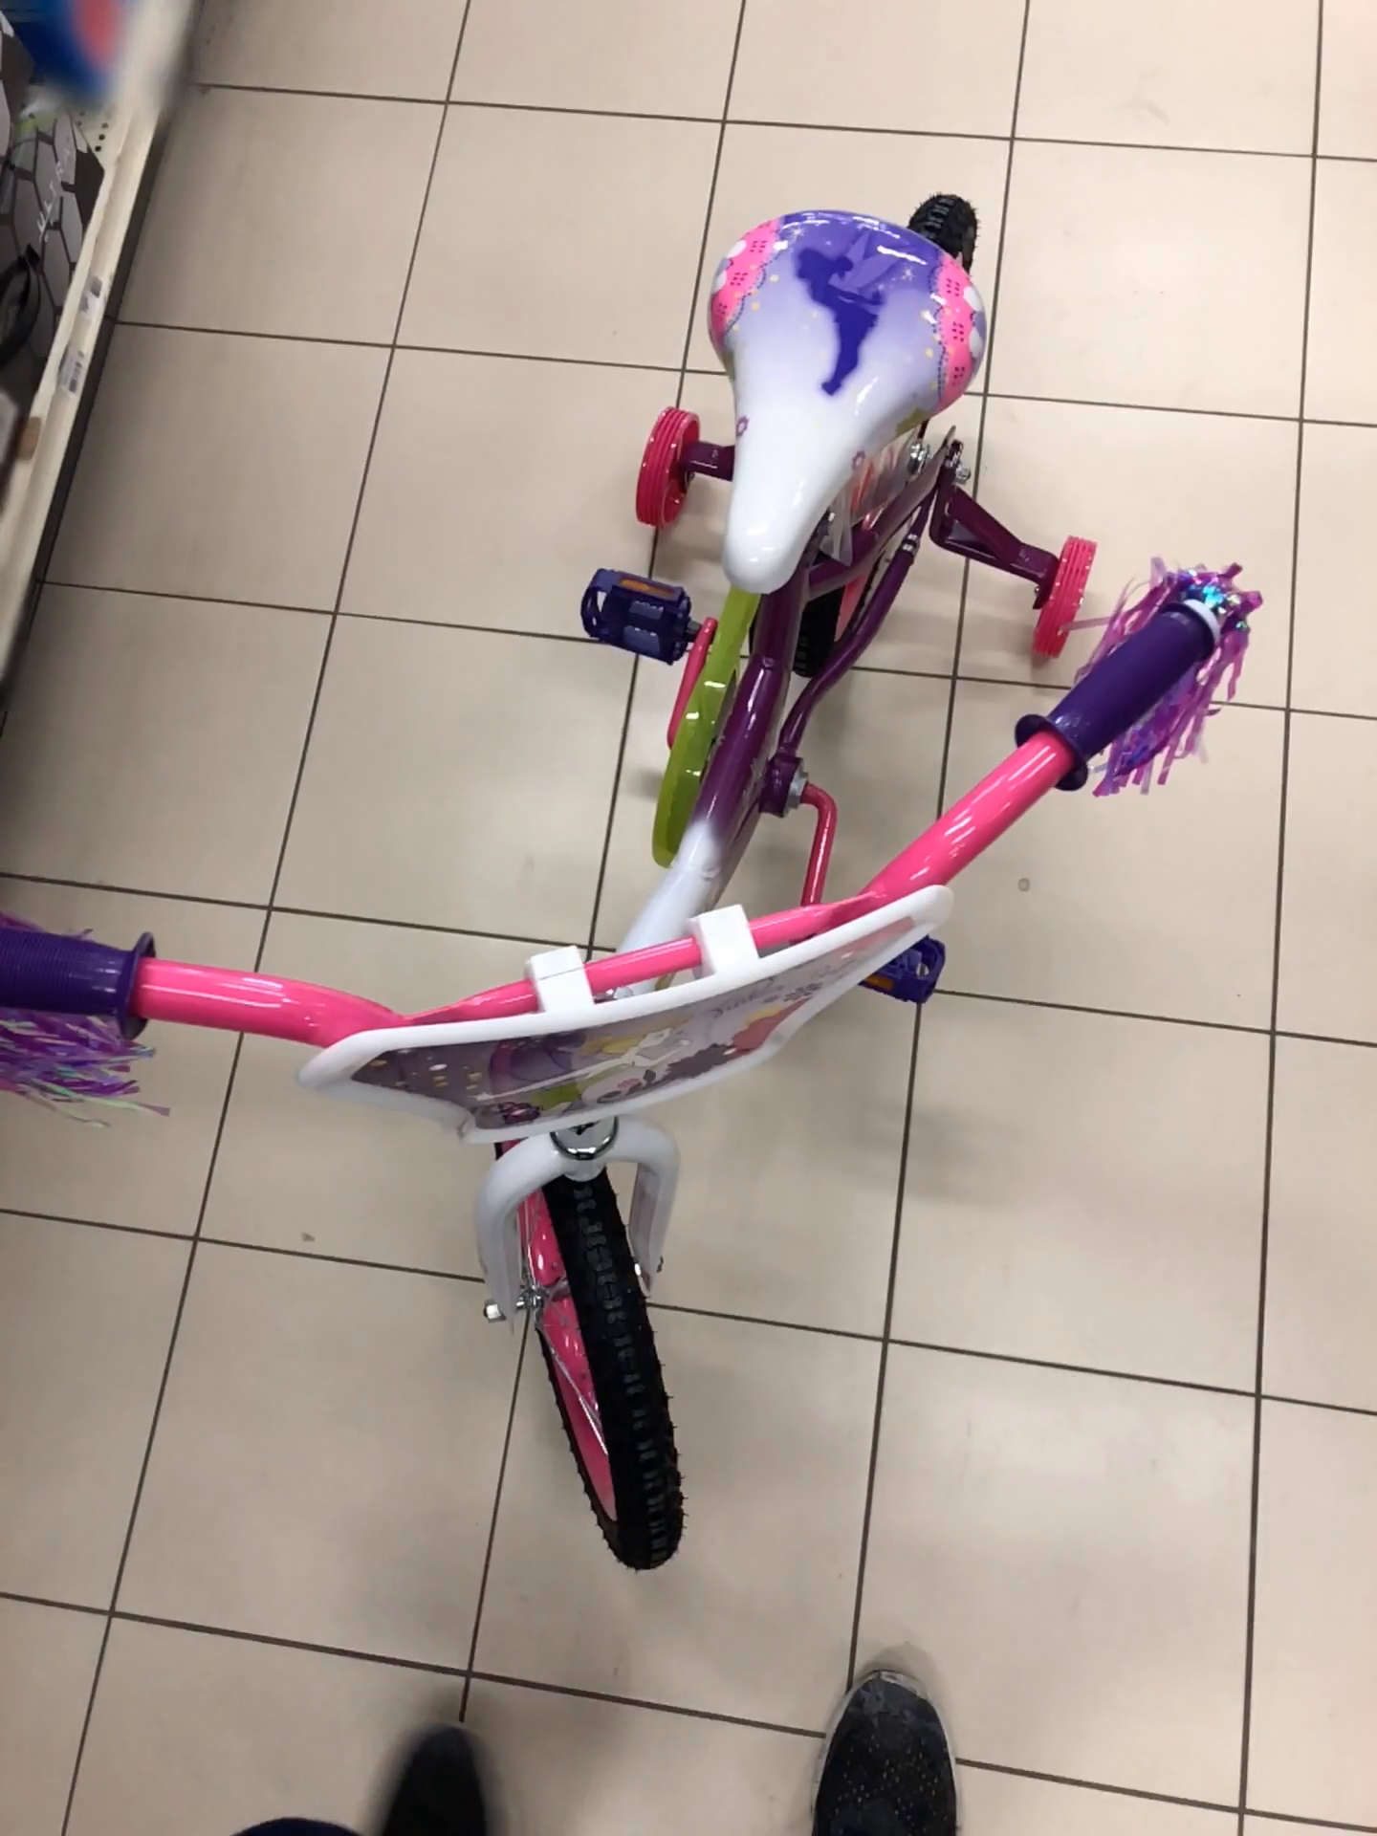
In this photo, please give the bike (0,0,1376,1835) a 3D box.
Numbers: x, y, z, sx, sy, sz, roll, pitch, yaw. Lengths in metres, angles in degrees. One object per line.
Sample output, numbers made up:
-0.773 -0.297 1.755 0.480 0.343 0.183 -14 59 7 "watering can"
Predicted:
0.062 -0.123 0.945 0.595 0.813 1.067 12 76 7 "bike"
